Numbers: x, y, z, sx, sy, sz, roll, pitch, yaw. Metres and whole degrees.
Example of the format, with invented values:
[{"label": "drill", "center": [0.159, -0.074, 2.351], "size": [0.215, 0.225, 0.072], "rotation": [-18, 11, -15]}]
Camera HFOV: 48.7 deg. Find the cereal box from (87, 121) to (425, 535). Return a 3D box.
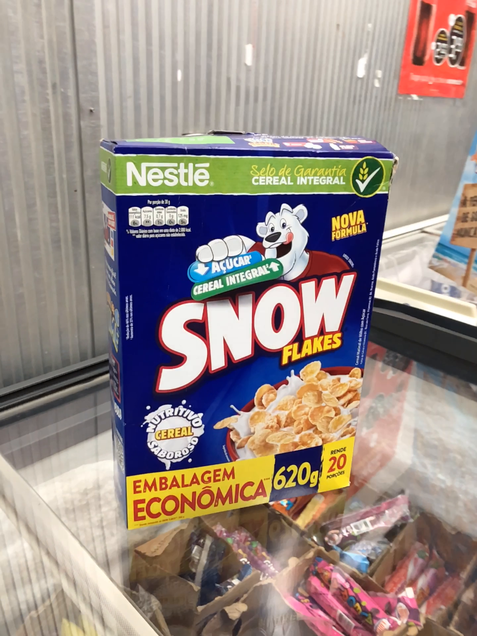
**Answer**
[{"label": "cereal box", "center": [0.007, 0.008, 0.432], "size": [0.230, 0.308, 0.070], "rotation": [-5, 23, -18]}]
